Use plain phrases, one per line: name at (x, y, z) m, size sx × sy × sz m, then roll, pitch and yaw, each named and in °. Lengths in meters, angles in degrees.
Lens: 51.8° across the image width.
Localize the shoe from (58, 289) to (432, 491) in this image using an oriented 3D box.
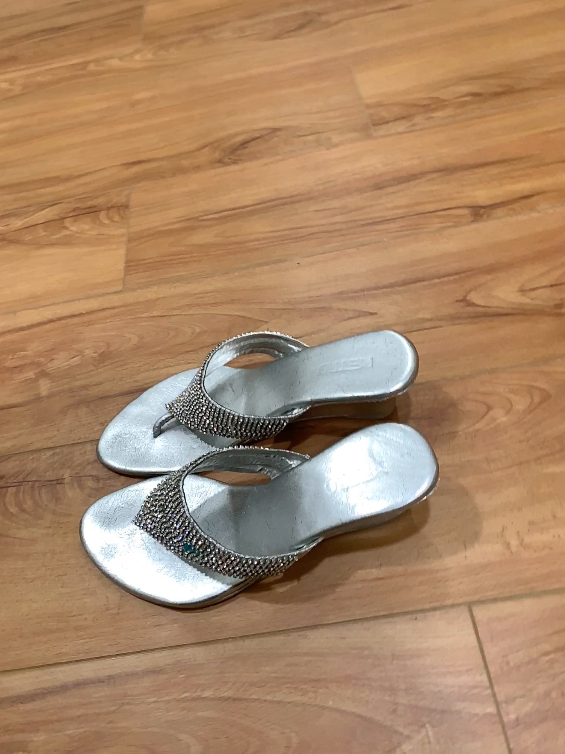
shoe at (-0.022, 0.012, 0.402) m, size 0.228 × 0.073 × 0.086 m, roll -8°, pitch 54°, yaw 6°

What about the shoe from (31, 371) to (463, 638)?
shoe at (-0.021, 0.079, 0.356) m, size 0.228 × 0.073 × 0.096 m, roll -12°, pitch 54°, yaw 2°
